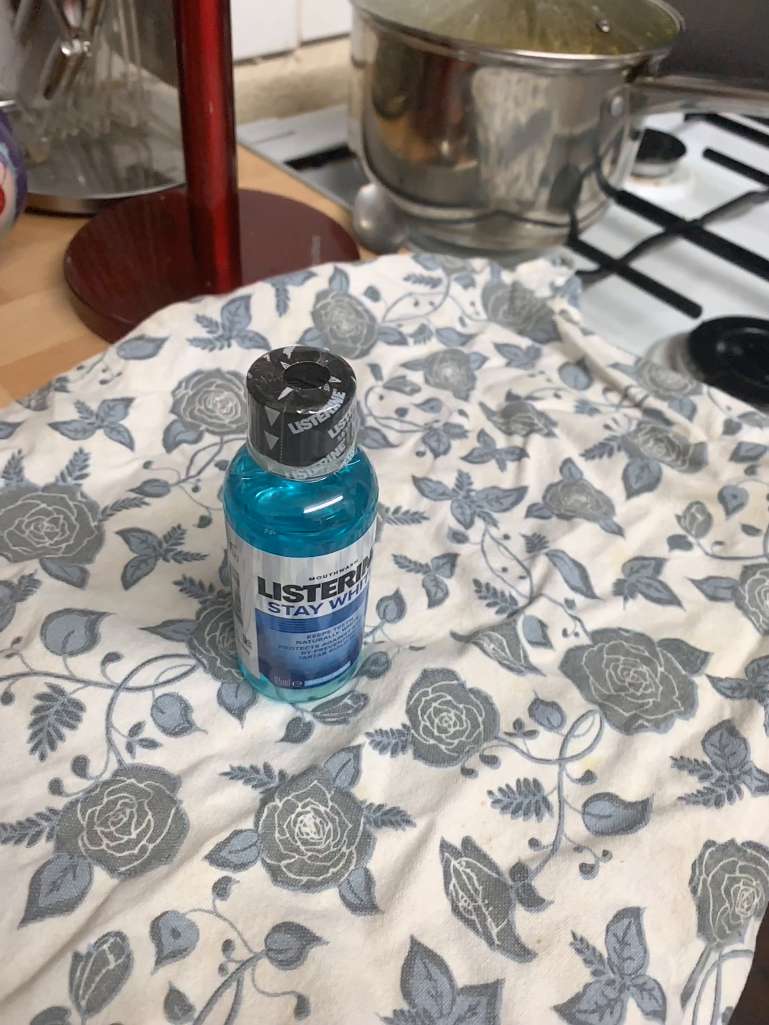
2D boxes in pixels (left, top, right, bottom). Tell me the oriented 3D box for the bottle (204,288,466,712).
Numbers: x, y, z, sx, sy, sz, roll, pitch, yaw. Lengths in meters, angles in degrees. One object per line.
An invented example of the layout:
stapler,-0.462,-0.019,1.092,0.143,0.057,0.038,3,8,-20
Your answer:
bottle,-0.018,0.001,0.224,0.050,0.109,0.050,3,46,-4
